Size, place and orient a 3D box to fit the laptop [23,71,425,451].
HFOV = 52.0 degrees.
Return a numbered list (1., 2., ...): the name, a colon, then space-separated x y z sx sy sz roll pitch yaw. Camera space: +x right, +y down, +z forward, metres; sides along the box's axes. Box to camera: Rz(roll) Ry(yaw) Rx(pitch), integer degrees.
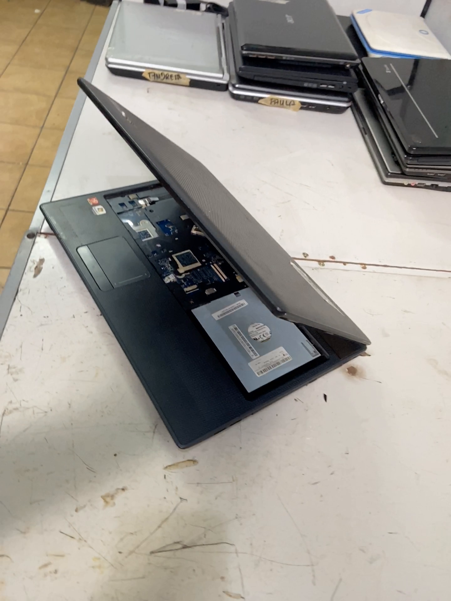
1. laptop: -0.030 -0.082 0.507 0.240 0.156 0.371 -20 55 -27
